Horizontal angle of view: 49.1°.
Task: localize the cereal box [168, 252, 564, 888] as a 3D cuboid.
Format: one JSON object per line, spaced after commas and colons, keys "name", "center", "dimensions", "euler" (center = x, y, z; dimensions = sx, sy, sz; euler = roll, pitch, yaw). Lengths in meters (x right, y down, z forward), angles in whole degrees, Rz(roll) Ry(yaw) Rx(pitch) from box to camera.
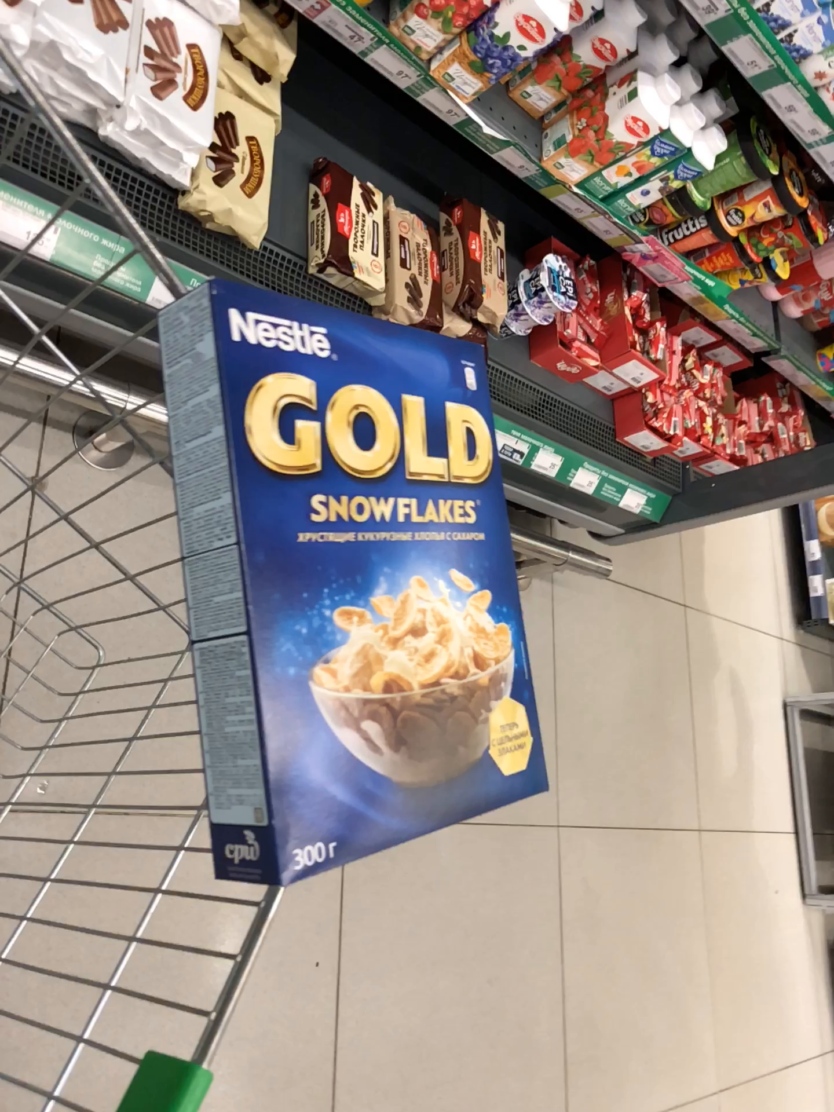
{"name": "cereal box", "center": [-0.017, 0.006, 0.475], "dimensions": [0.201, 0.050, 0.270], "euler": [1, 79, -50]}
